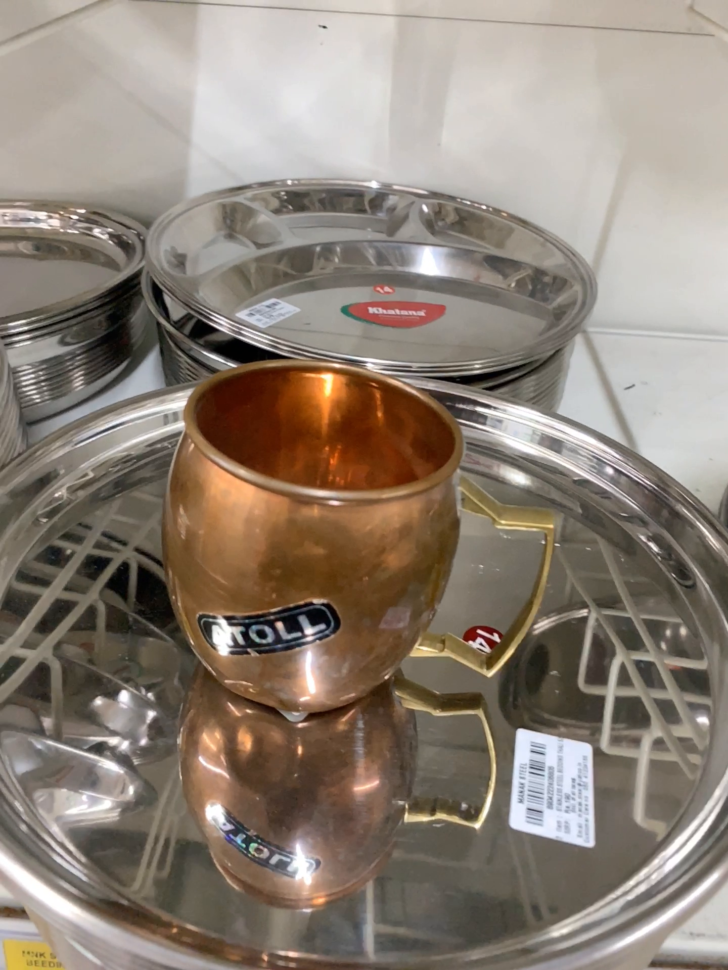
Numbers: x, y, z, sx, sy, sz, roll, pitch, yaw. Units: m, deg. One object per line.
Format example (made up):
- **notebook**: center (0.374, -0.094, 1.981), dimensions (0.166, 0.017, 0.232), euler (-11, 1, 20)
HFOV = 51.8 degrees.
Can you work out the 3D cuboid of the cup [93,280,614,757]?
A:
- **cup**: center (-0.001, 0.006, 0.231), dimensions (0.120, 0.090, 0.090), euler (11, 38, 5)
